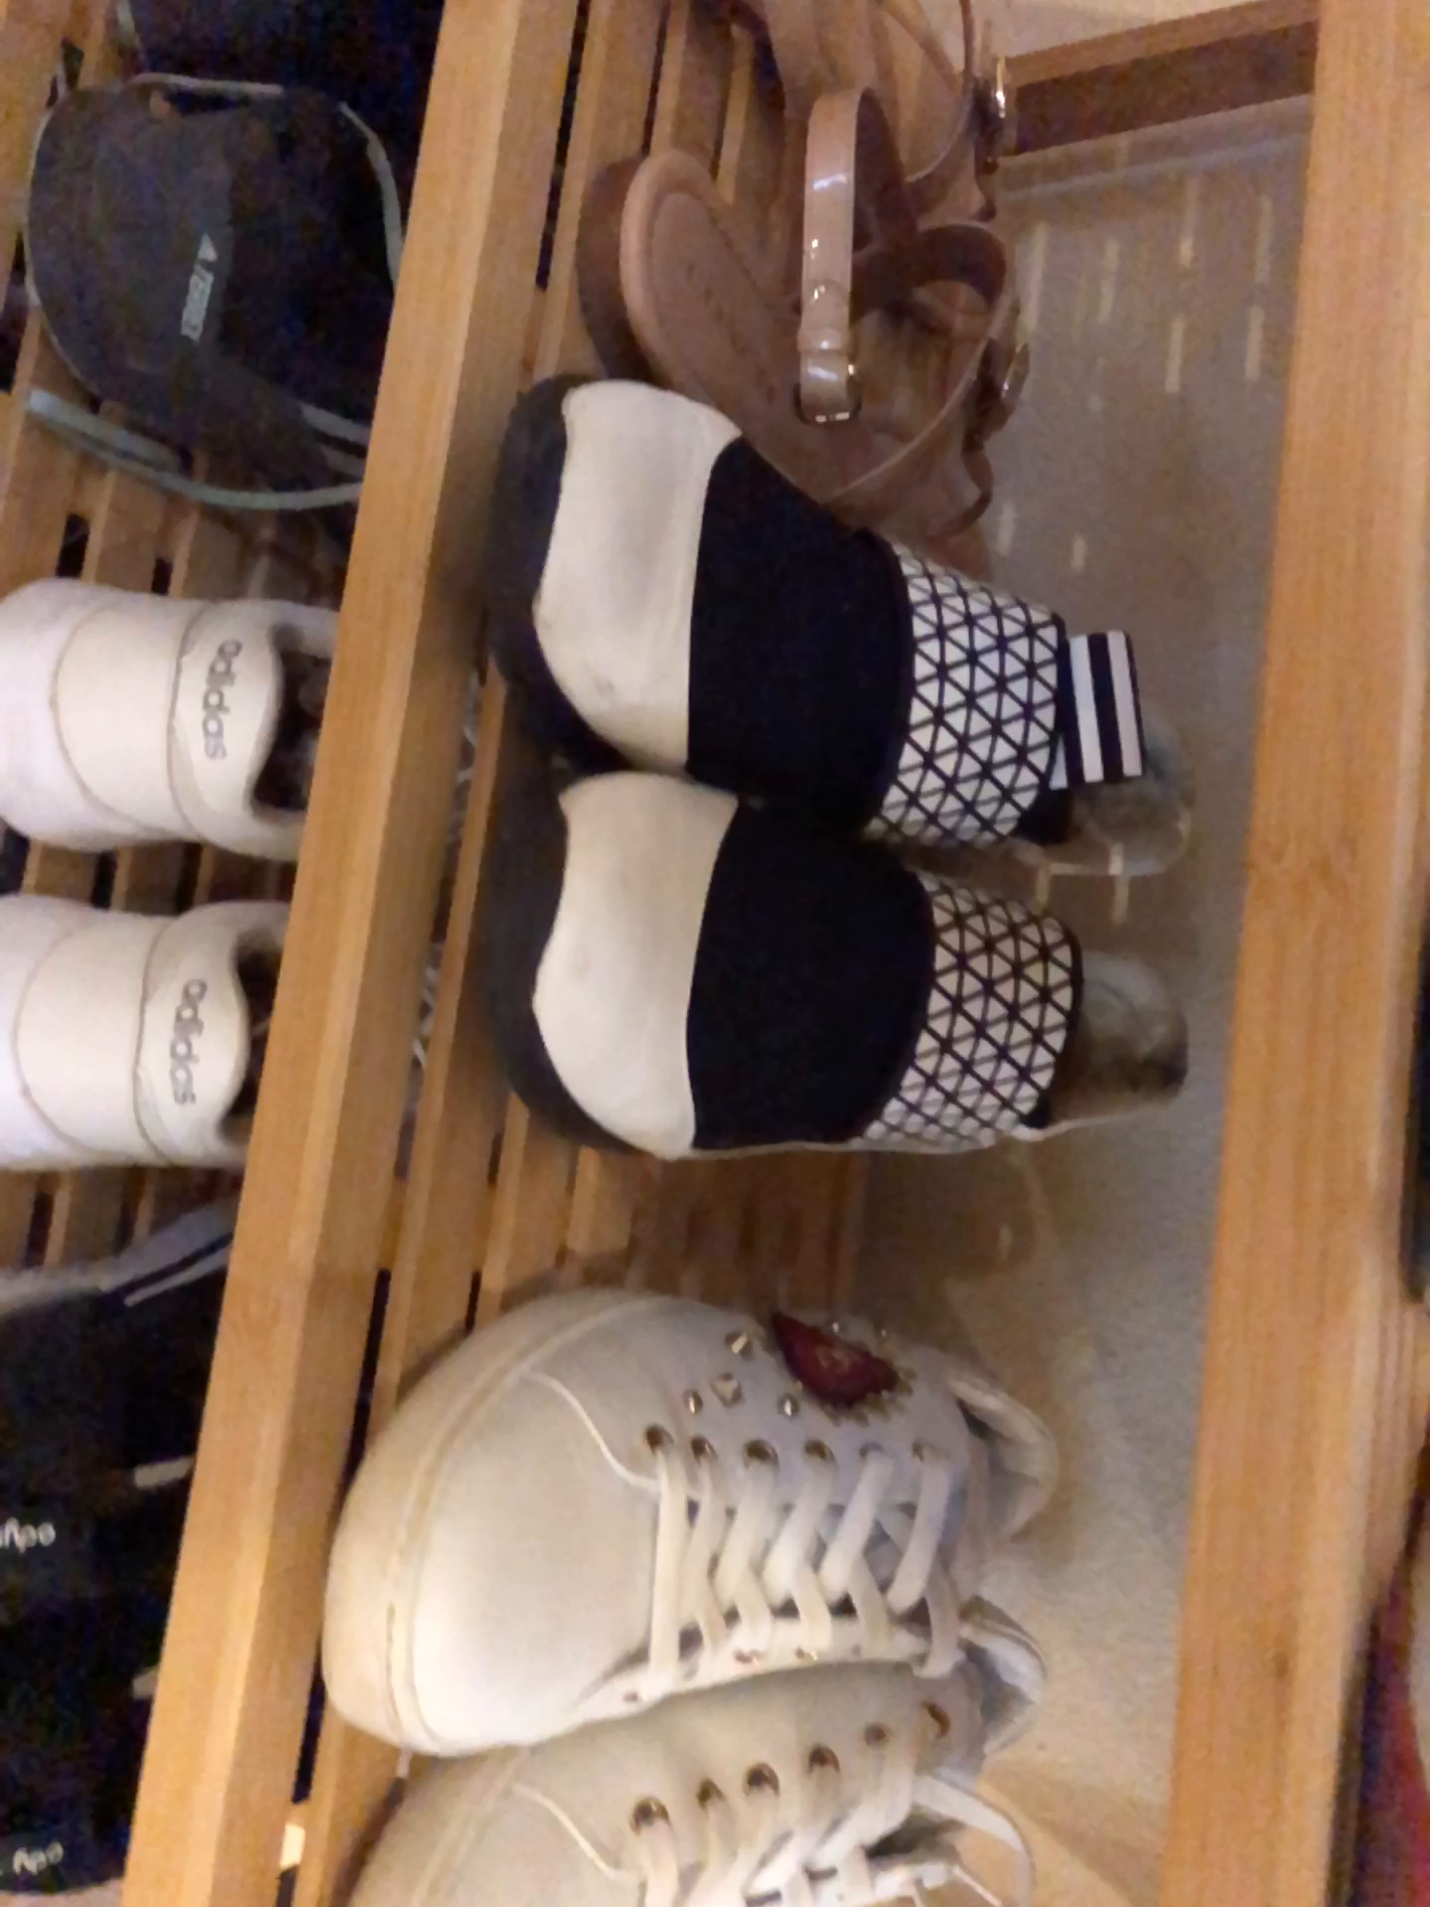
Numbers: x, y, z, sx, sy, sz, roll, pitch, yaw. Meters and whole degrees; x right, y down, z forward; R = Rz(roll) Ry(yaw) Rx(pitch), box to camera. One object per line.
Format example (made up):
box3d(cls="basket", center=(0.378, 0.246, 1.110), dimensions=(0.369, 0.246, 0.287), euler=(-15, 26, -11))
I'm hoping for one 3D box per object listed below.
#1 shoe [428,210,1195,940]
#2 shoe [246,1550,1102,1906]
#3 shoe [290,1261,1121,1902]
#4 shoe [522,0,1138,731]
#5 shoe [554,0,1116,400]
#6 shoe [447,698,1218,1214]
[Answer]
box3d(cls="shoe", center=(0.048, -0.077, 0.434), dimensions=(0.264, 0.068, 0.086), euler=(22, 73, -51))
box3d(cls="shoe", center=(0.011, 0.227, 0.393), dimensions=(0.244, 0.068, 0.092), euler=(9, 84, -53))
box3d(cls="shoe", center=(0.020, 0.138, 0.414), dimensions=(0.257, 0.068, 0.092), euler=(9, 84, -53))
box3d(cls="shoe", center=(0.056, -0.163, 0.517), dimensions=(0.264, 0.081, 0.099), euler=(22, 74, -57))
box3d(cls="shoe", center=(0.059, -0.303, 0.546), dimensions=(0.264, 0.074, 0.092), euler=(22, 74, -57))
box3d(cls="shoe", center=(0.057, 0.018, 0.442), dimensions=(0.282, 0.076, 0.096), euler=(15, 79, -55))
